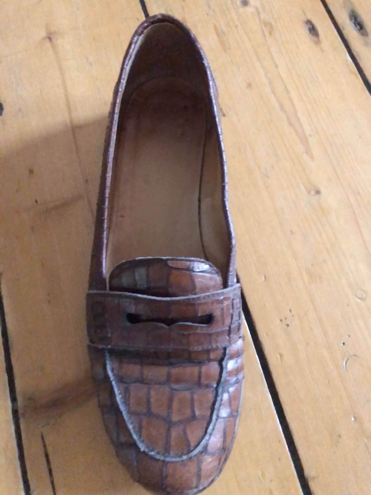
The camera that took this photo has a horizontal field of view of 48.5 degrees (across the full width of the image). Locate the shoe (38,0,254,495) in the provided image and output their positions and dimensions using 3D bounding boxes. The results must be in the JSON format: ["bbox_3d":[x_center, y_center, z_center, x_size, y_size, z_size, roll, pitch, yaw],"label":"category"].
[{"bbox_3d":[-0.019,-0.029,0.252,0.080,0.100,0.321,-2,71,1],"label":"shoe"}]
